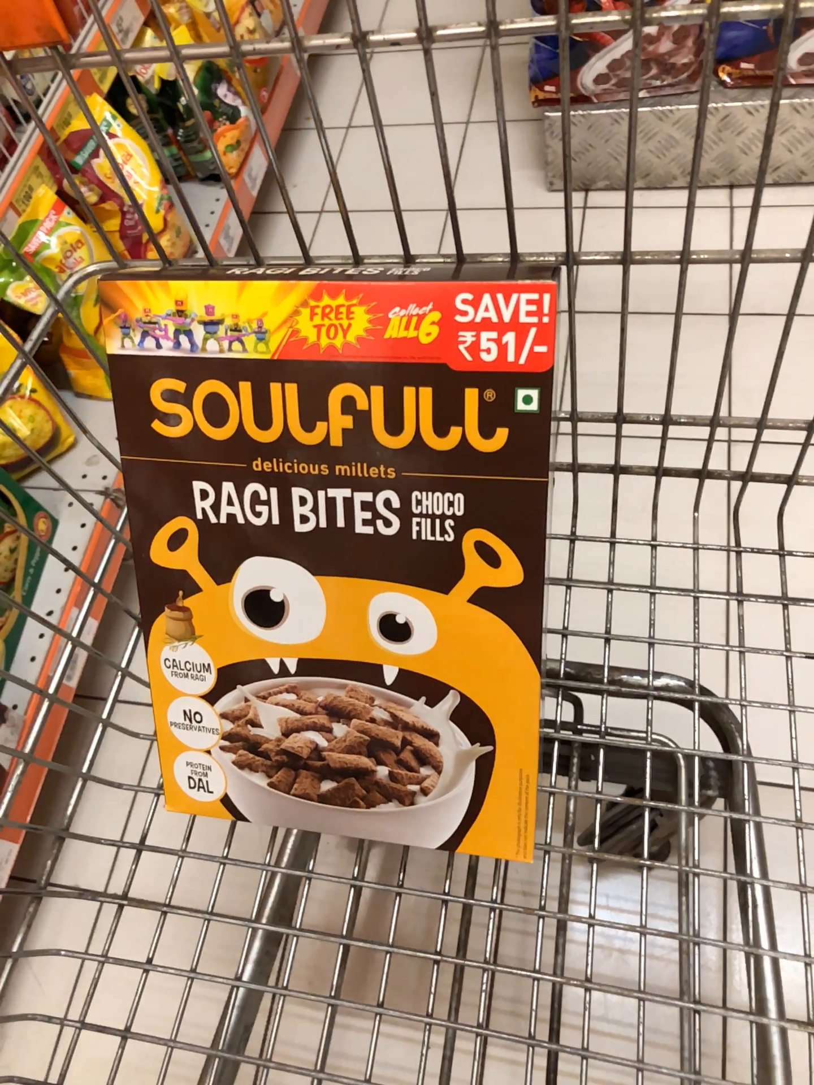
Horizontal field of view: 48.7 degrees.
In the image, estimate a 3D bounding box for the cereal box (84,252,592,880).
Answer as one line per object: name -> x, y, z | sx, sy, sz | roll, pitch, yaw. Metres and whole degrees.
cereal box -> -0.024, 0.007, 0.404 | 0.190, 0.259, 0.070 | 5, 21, 14
